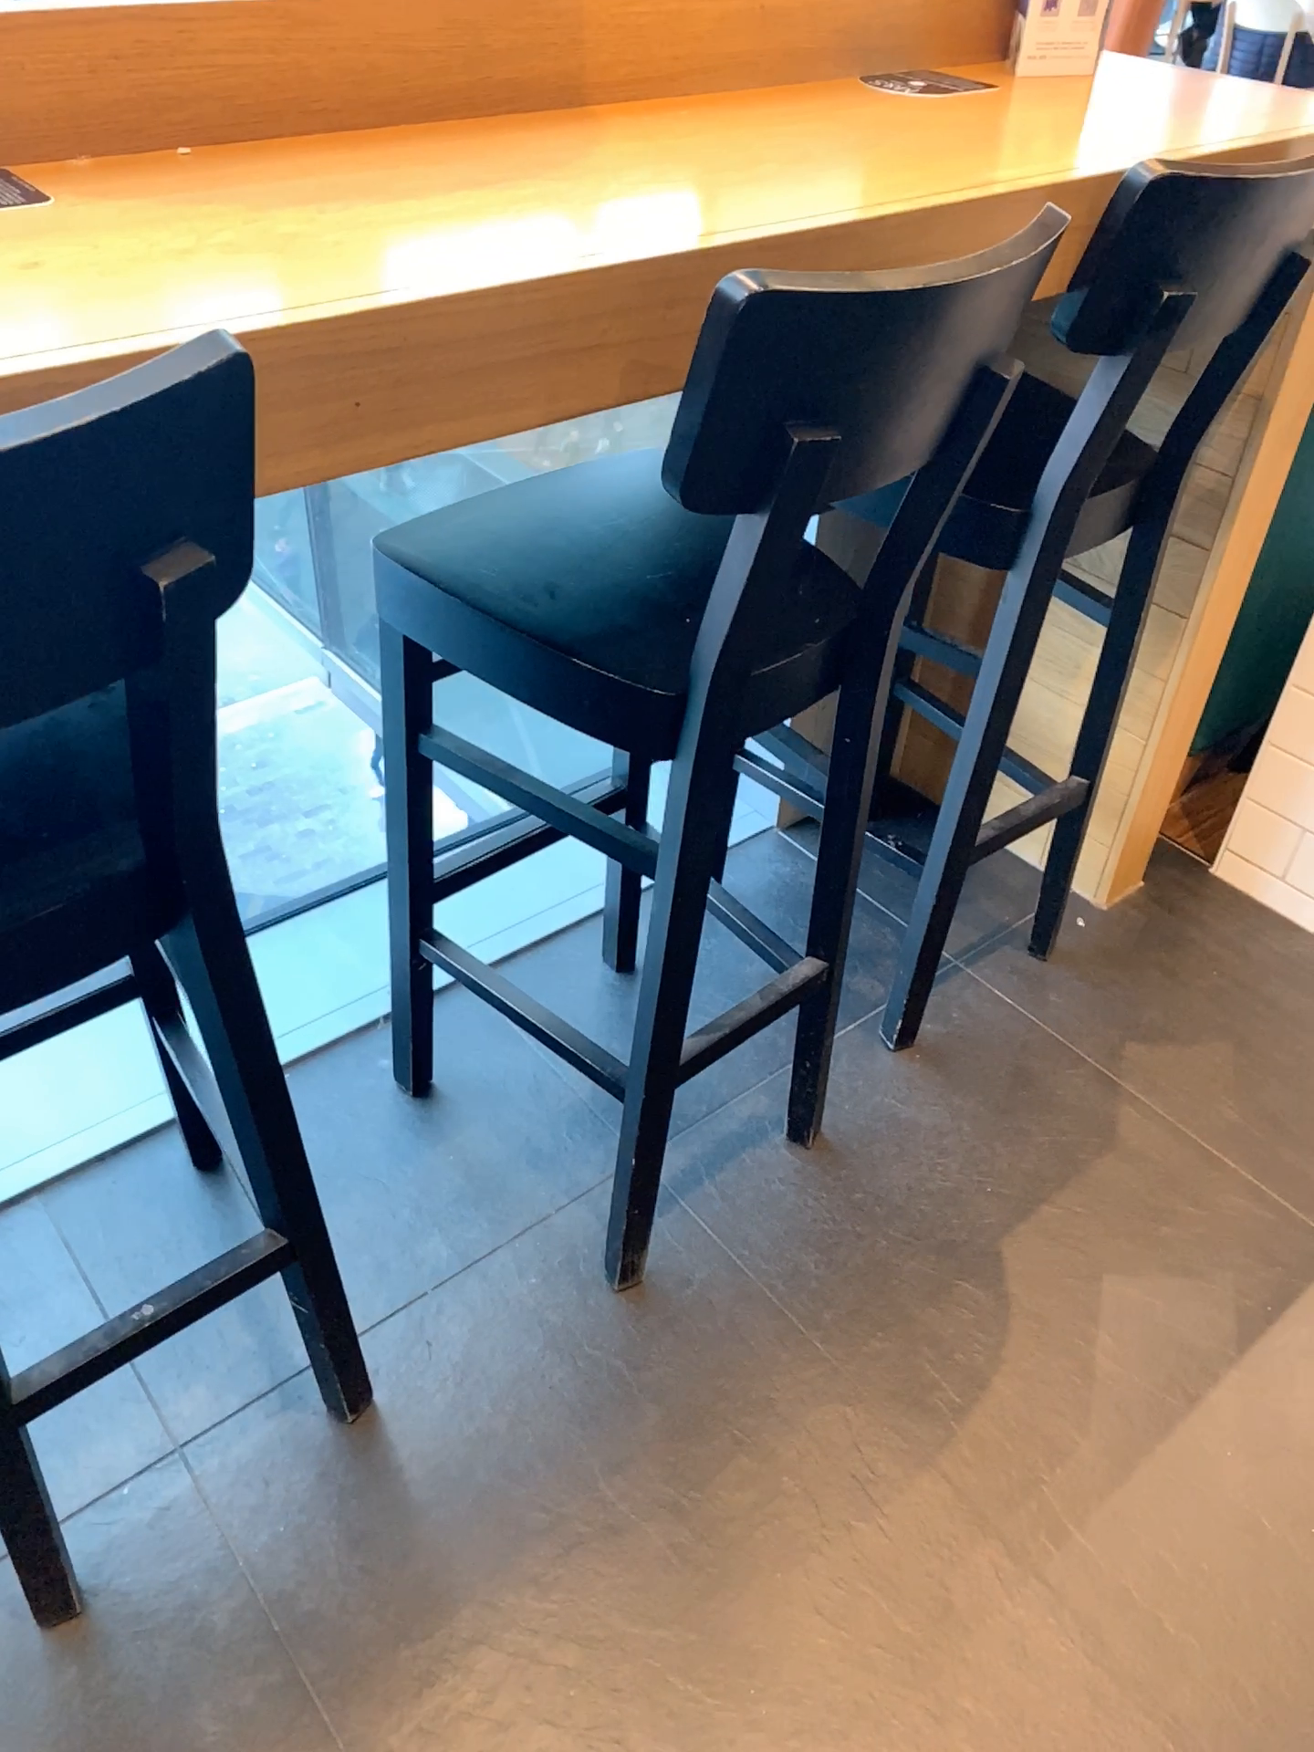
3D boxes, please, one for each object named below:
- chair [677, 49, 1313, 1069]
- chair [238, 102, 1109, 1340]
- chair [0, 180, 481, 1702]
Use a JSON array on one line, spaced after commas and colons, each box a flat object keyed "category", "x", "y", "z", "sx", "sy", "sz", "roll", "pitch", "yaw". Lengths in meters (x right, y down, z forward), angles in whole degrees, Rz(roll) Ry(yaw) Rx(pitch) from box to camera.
[{"category": "chair", "x": 0.360, "y": -0.351, "z": 1.584, "sx": 0.424, "sy": 1.001, "sz": 0.463, "roll": -28, "pitch": 48, "yaw": -33}, {"category": "chair", "x": -0.009, "y": -0.124, "z": 1.300, "sx": 0.455, "sy": 1.001, "sz": 0.462, "roll": -29, "pitch": 49, "yaw": -34}, {"category": "chair", "x": -0.446, "y": 0.091, "z": 1.017, "sx": 0.394, "sy": 1.001, "sz": 0.463, "roll": -26, "pitch": 47, "yaw": -31}]
